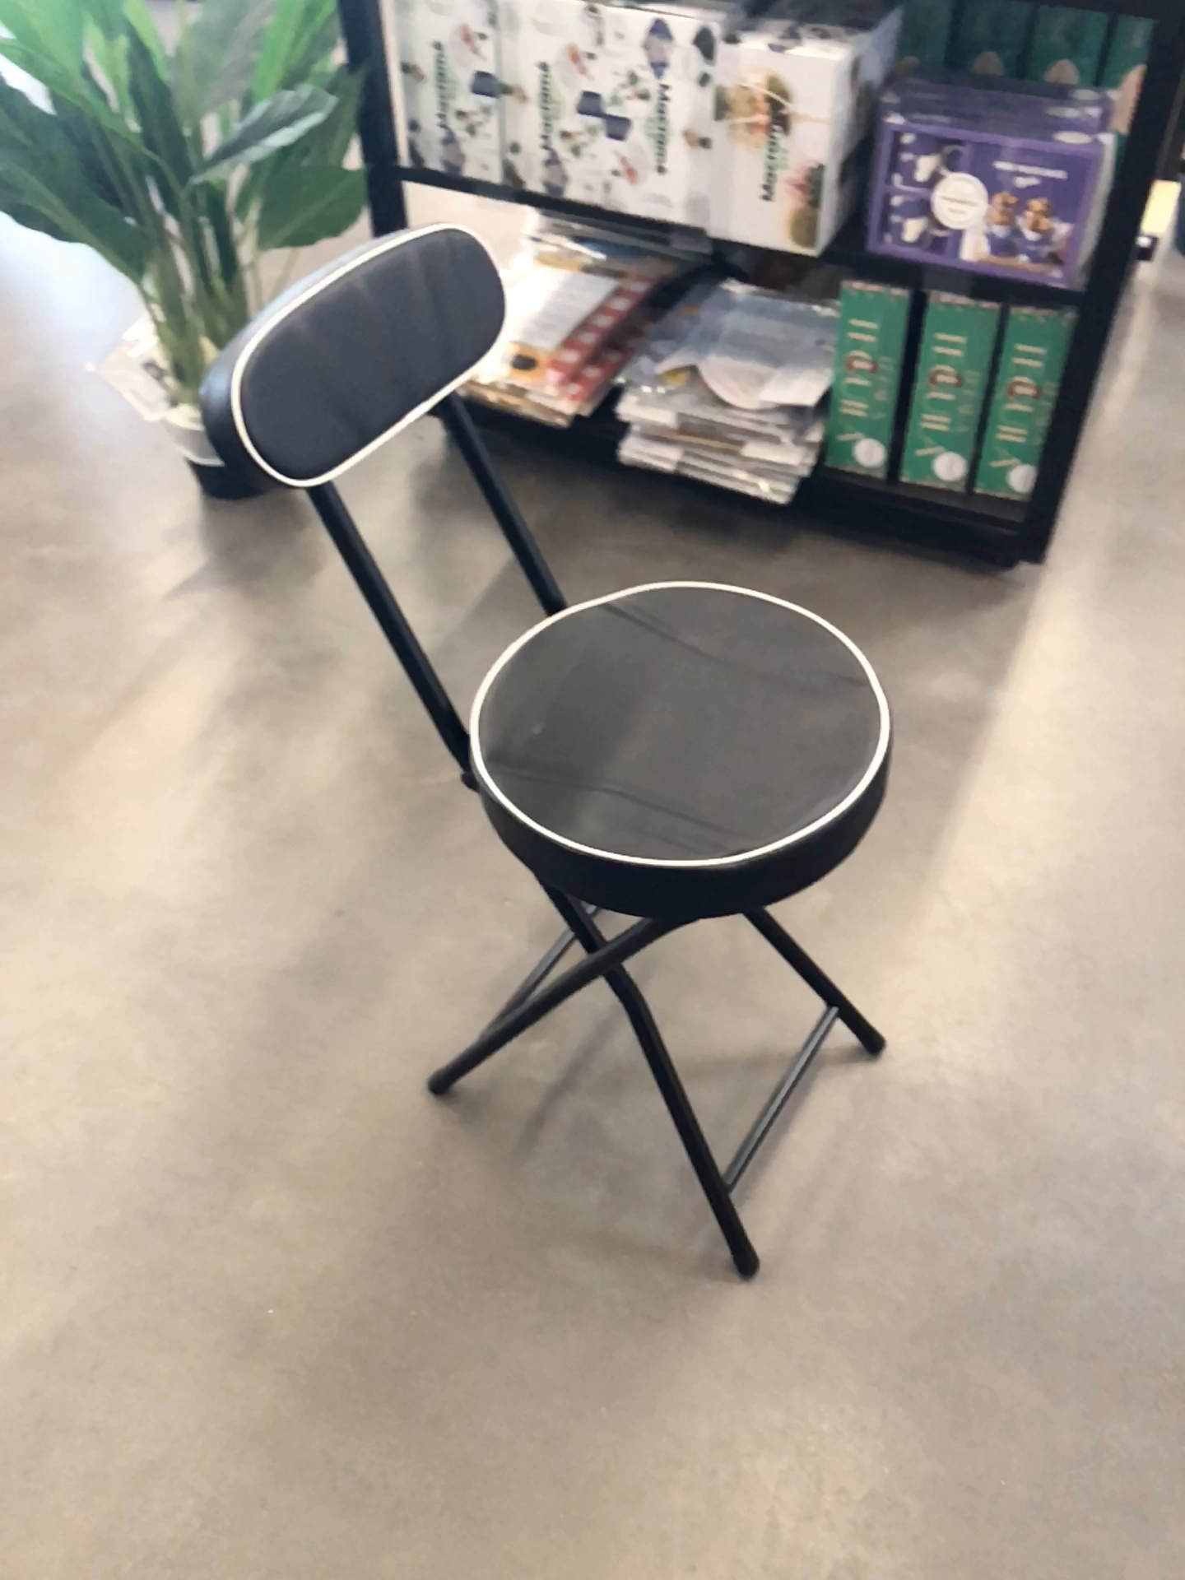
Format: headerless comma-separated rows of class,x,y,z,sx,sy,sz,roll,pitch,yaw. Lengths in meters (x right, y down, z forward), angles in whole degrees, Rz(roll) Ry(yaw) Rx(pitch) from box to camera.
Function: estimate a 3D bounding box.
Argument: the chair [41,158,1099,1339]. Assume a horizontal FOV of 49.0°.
chair,-0.007,0.002,1.028,0.510,0.756,0.342,25,52,23
